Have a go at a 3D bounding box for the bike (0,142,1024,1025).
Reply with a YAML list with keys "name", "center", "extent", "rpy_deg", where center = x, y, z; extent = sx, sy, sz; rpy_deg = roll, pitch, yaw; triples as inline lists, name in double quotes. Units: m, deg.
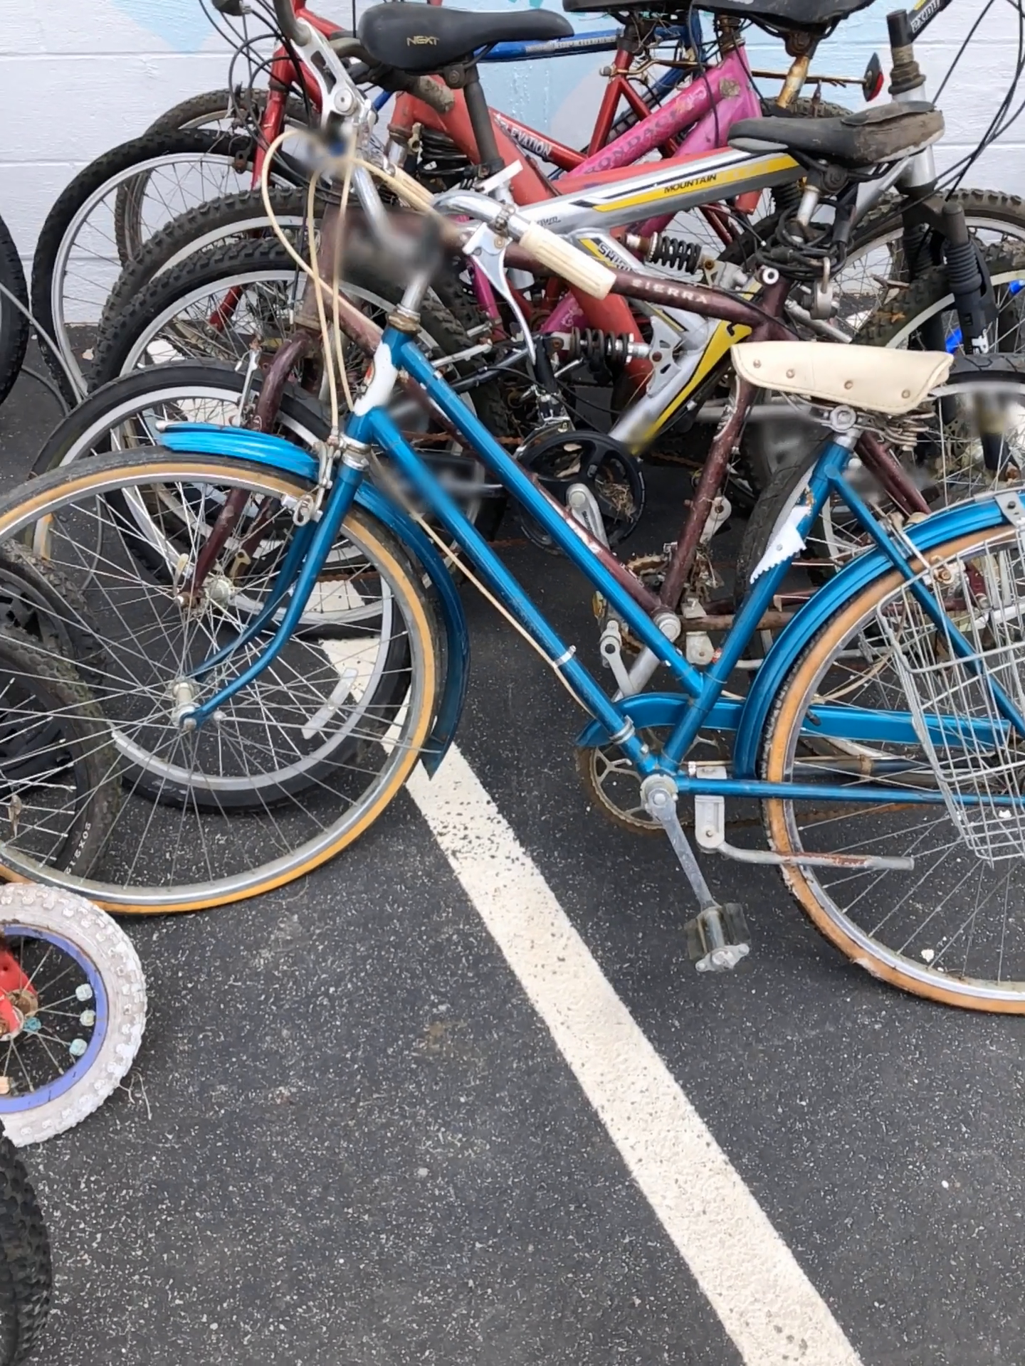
- name: "bike"
  center: [0.118, -0.084, 1.228]
  extent: [1.480, 0.760, 0.478]
  rpy_deg: [3, 40, 1]
